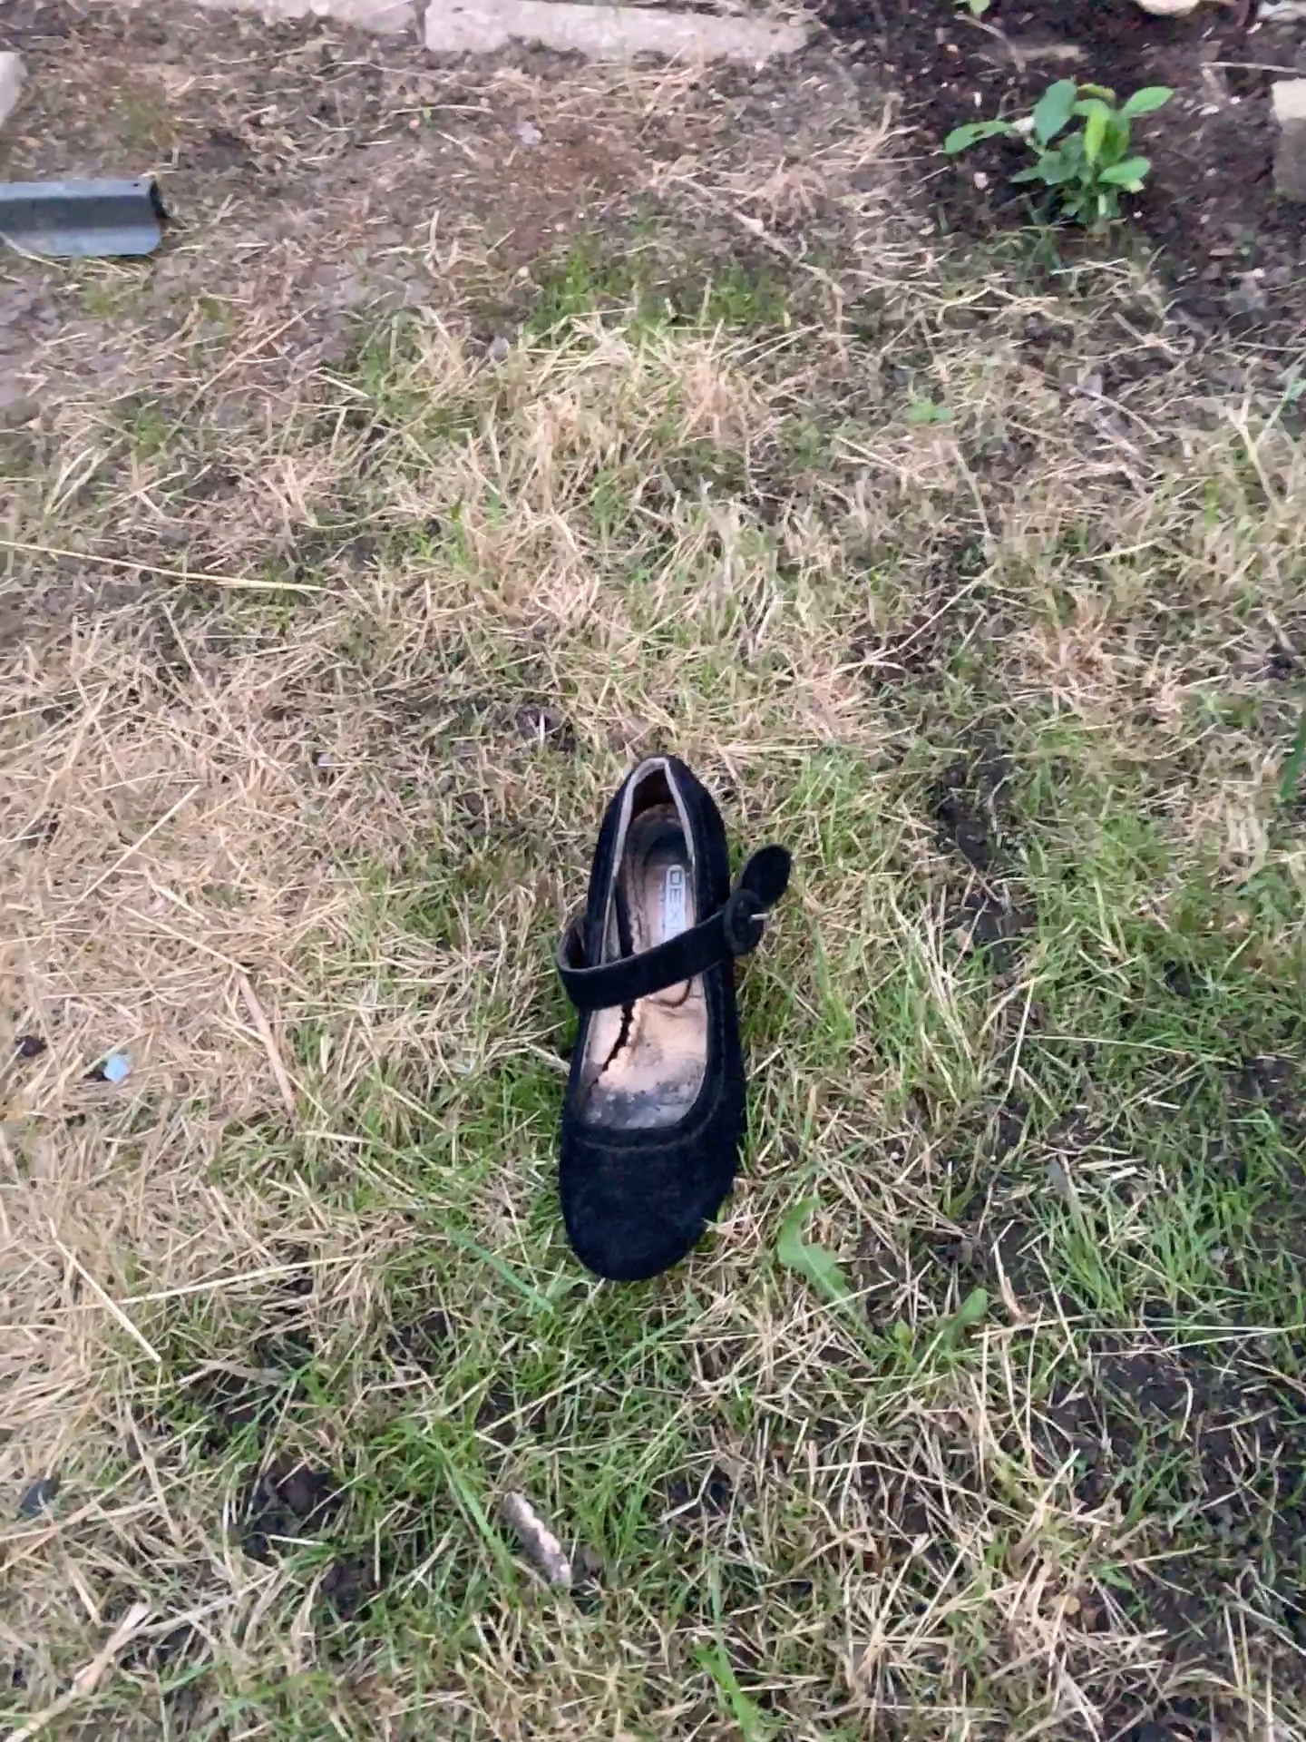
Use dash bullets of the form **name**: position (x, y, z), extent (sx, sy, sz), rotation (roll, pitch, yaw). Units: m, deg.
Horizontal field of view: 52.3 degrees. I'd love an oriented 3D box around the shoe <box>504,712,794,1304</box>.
- **shoe**: position (0.008, 0.056, 0.620), extent (0.110, 0.109, 0.252), rotation (1, 53, 4)
